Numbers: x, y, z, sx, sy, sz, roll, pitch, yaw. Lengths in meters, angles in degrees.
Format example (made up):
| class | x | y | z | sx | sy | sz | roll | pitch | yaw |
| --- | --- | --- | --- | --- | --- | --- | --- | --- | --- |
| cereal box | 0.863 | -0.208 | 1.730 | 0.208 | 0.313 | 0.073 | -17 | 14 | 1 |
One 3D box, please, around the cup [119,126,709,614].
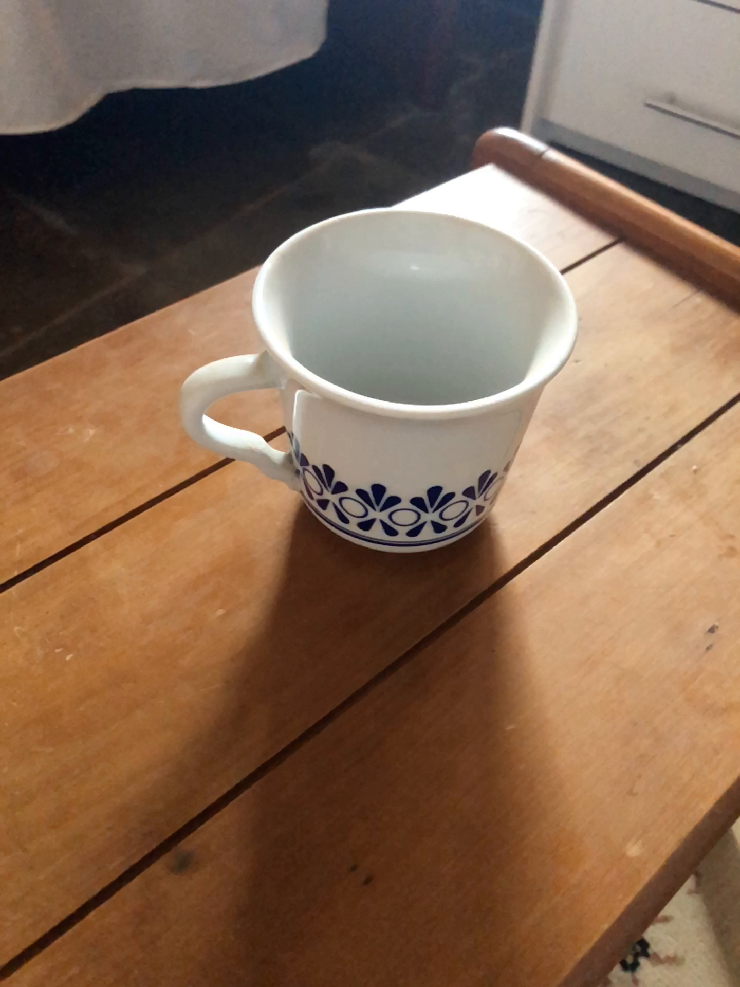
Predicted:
| class | x | y | z | sx | sy | sz | roll | pitch | yaw |
| --- | --- | --- | --- | --- | --- | --- | --- | --- | --- |
| cup | 0.004 | -0.042 | 0.248 | 0.130 | 0.079 | 0.101 | -12 | 51 | -14 |
